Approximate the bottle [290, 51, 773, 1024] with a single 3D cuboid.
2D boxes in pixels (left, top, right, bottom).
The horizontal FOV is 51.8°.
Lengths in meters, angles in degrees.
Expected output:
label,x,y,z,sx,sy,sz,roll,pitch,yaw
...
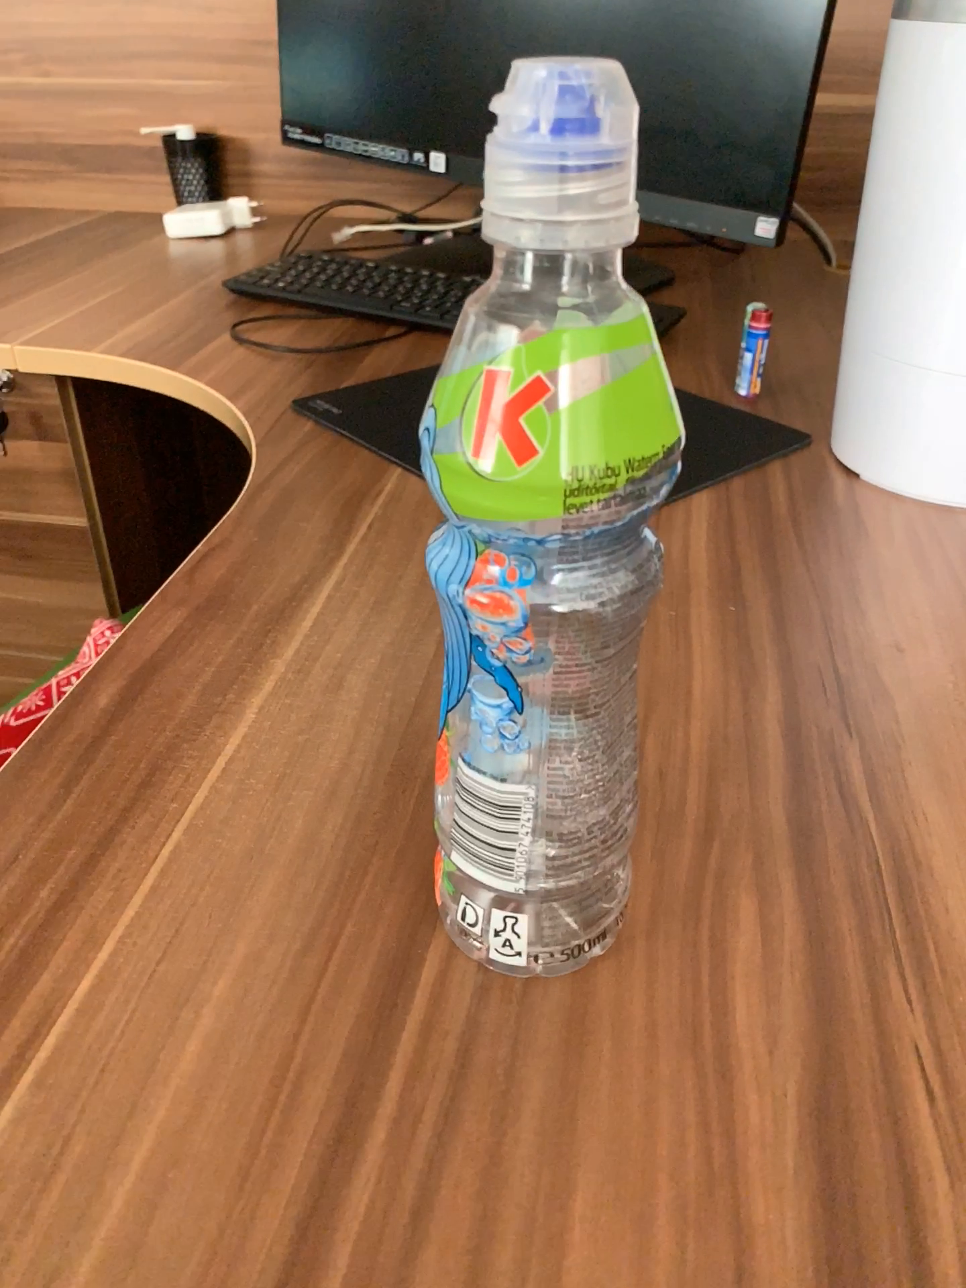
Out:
label,x,y,z,sx,sy,sz,roll,pitch,yaw
bottle,0.011,-0.017,0.265,0.070,0.239,0.070,0,33,0
